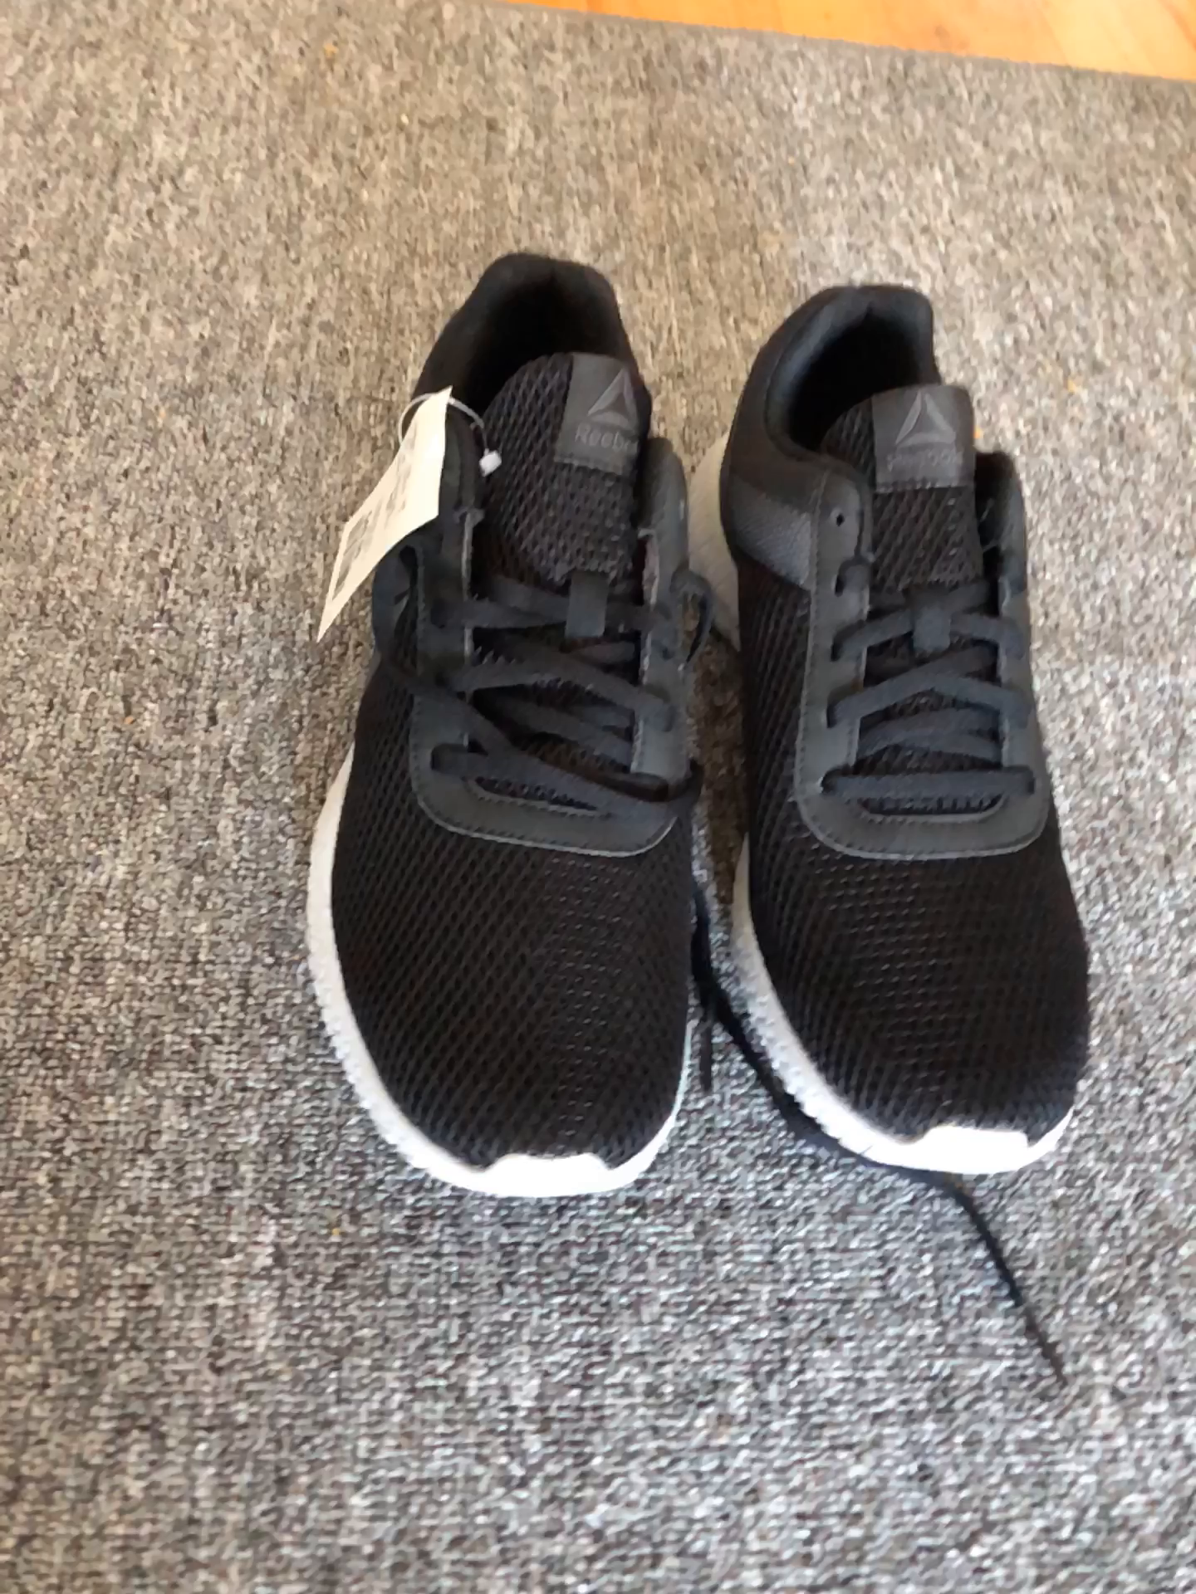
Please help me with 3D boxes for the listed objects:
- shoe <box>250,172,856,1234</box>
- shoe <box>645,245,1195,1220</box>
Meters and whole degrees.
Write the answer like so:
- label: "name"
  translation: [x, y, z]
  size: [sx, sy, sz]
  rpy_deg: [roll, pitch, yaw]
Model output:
- label: "shoe"
  translation: [-0.022, -0.043, 0.377]
  size: [0.116, 0.099, 0.302]
  rpy_deg: [2, 55, -8]
- label: "shoe"
  translation: [0.093, -0.036, 0.414]
  size: [0.110, 0.099, 0.302]
  rpy_deg: [0, 55, -9]
